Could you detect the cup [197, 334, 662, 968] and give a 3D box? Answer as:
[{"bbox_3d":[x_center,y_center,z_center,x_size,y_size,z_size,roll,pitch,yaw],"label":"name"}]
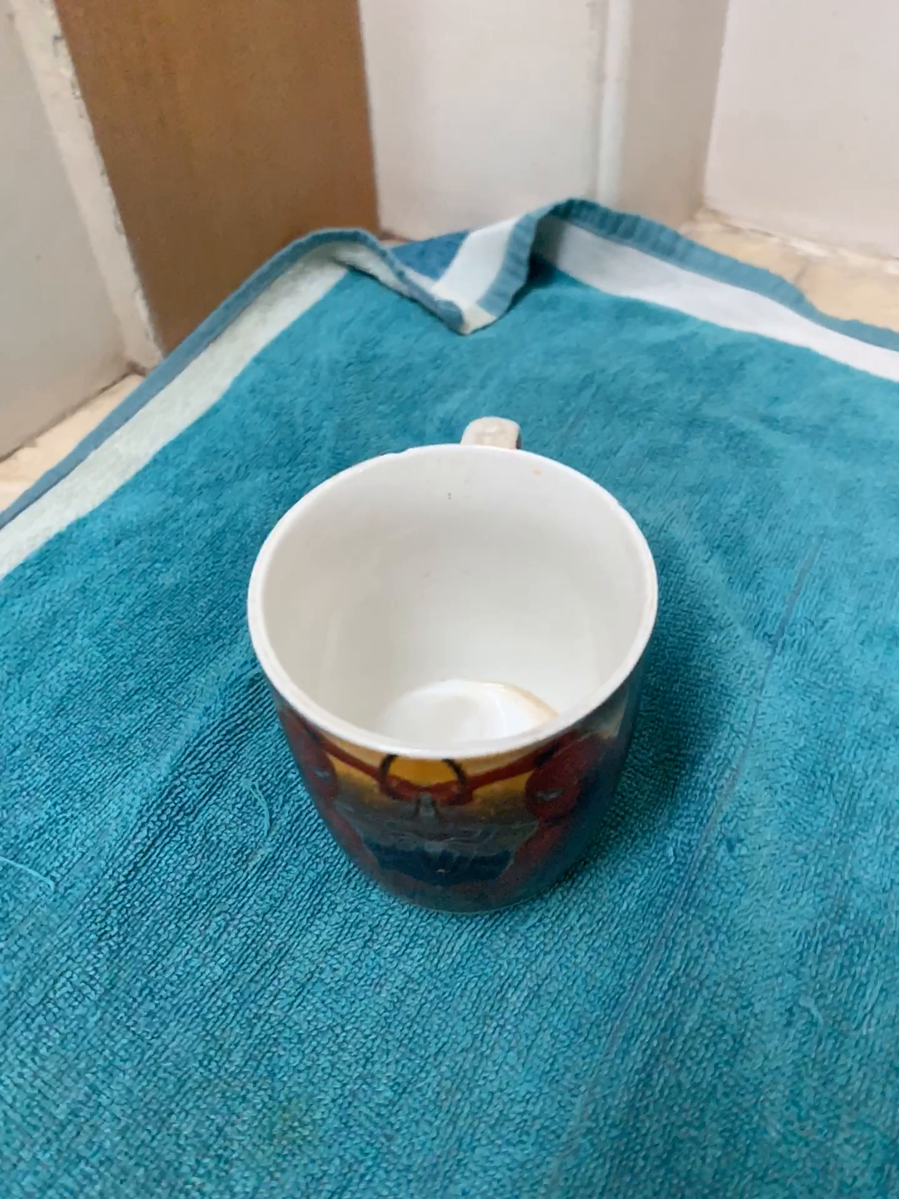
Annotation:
[{"bbox_3d":[0.006,0.008,0.232,0.080,0.089,0.121,5,48,8],"label":"cup"}]
